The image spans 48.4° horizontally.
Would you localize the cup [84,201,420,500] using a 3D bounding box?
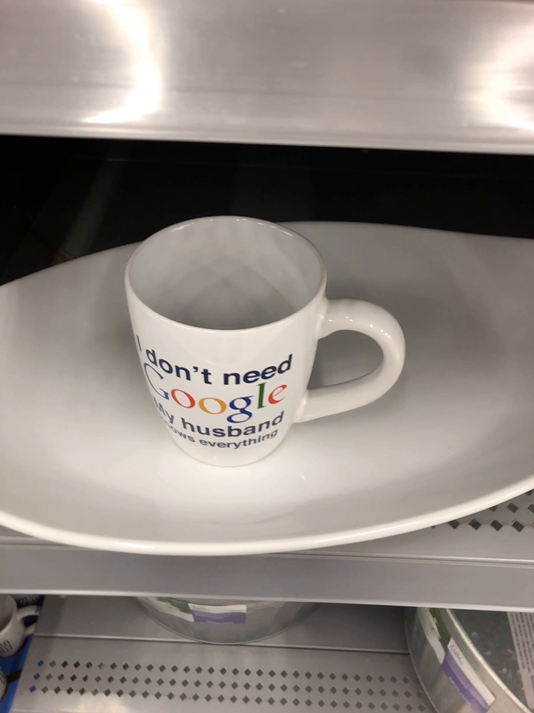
[{"bbox_3d":[-0.002,-0.005,0.343,0.154,0.108,0.104,9,45,6],"label":"cup"}]
